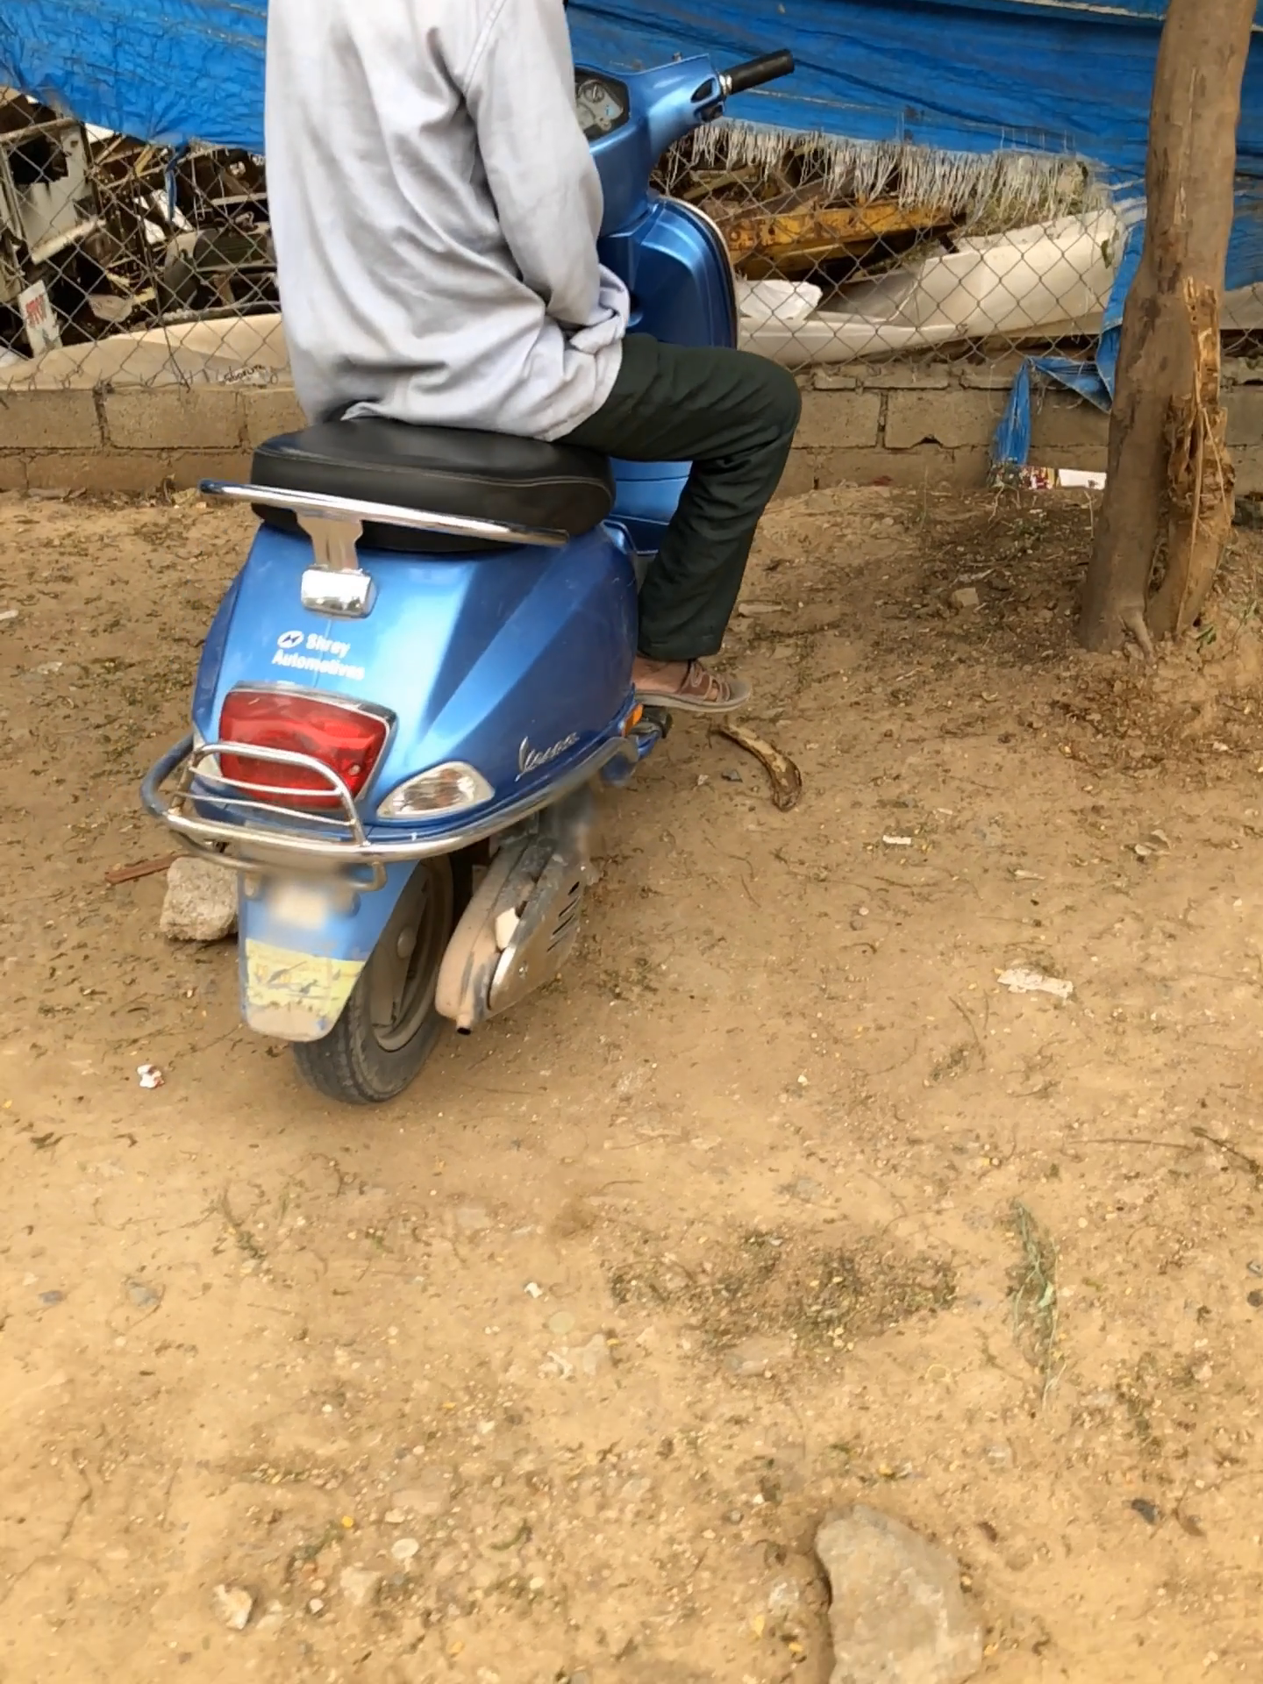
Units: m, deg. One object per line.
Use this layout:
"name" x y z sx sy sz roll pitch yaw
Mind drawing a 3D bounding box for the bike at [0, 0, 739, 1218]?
"bike" -0.209 -0.612 2.092 0.631 1.253 1.576 4 33 6
